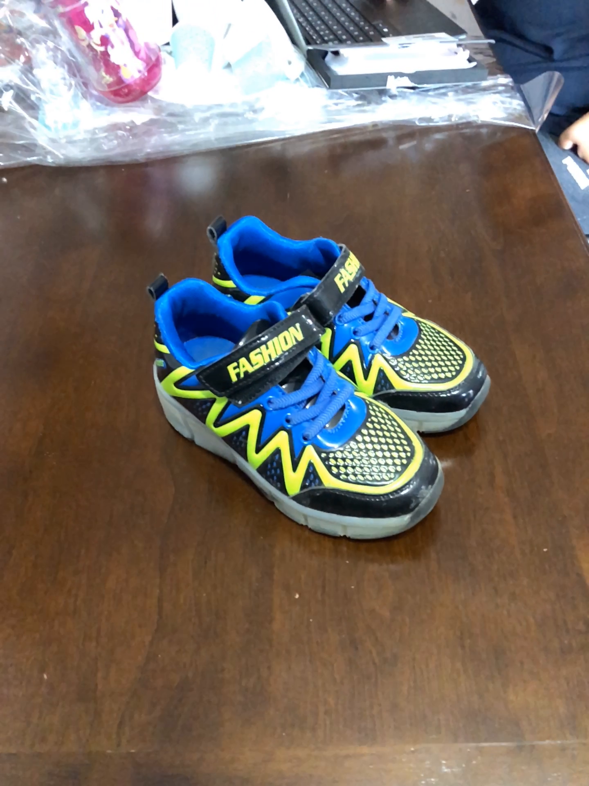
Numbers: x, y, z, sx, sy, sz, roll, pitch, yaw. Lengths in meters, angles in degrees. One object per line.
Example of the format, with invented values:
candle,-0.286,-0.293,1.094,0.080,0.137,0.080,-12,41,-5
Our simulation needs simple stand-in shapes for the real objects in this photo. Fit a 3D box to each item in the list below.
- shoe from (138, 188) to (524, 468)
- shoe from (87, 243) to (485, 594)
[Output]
shoe,0.025,-0.050,0.461,0.230,0.120,0.090,16,54,21
shoe,-0.005,0.009,0.417,0.210,0.120,0.100,24,57,26
